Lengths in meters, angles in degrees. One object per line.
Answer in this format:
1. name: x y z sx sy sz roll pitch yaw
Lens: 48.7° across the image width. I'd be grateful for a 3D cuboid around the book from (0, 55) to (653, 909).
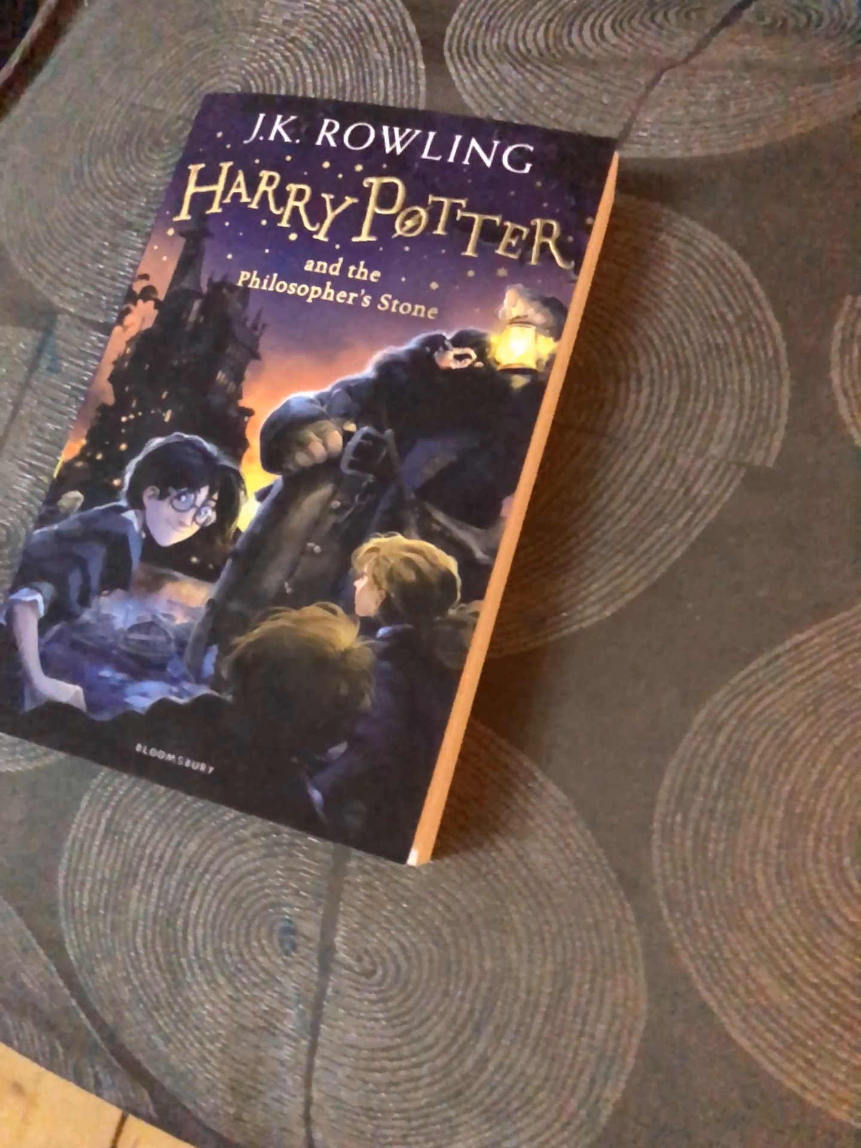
1. book: -0.032 -0.034 0.268 0.140 0.040 0.210 14 77 8
